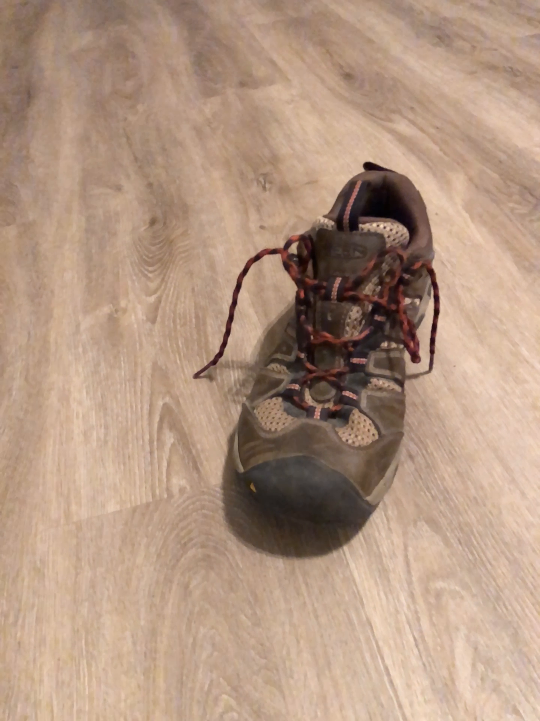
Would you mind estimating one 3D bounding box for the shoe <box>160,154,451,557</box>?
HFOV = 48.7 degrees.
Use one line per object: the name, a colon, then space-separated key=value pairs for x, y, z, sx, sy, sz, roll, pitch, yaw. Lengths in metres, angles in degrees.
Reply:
shoe: x=0.045 y=-0.028 z=0.397 sx=0.110 sy=0.100 sz=0.271 roll=8 pitch=45 yaw=17
